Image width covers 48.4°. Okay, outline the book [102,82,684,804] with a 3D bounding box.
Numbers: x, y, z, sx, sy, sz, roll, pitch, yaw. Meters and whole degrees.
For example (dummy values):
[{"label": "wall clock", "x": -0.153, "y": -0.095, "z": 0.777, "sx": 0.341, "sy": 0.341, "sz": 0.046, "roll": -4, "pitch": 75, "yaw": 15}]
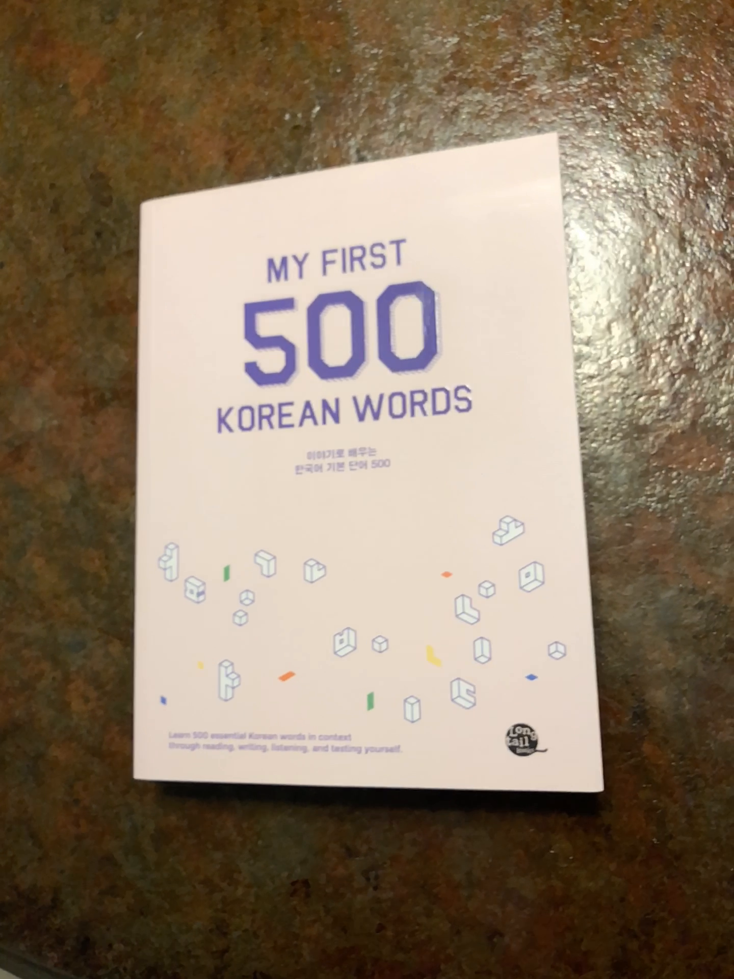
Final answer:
[{"label": "book", "x": 0.001, "y": -0.015, "z": 0.292, "sx": 0.190, "sy": 0.030, "sz": 0.230, "roll": -3, "pitch": 81, "yaw": 14}]
